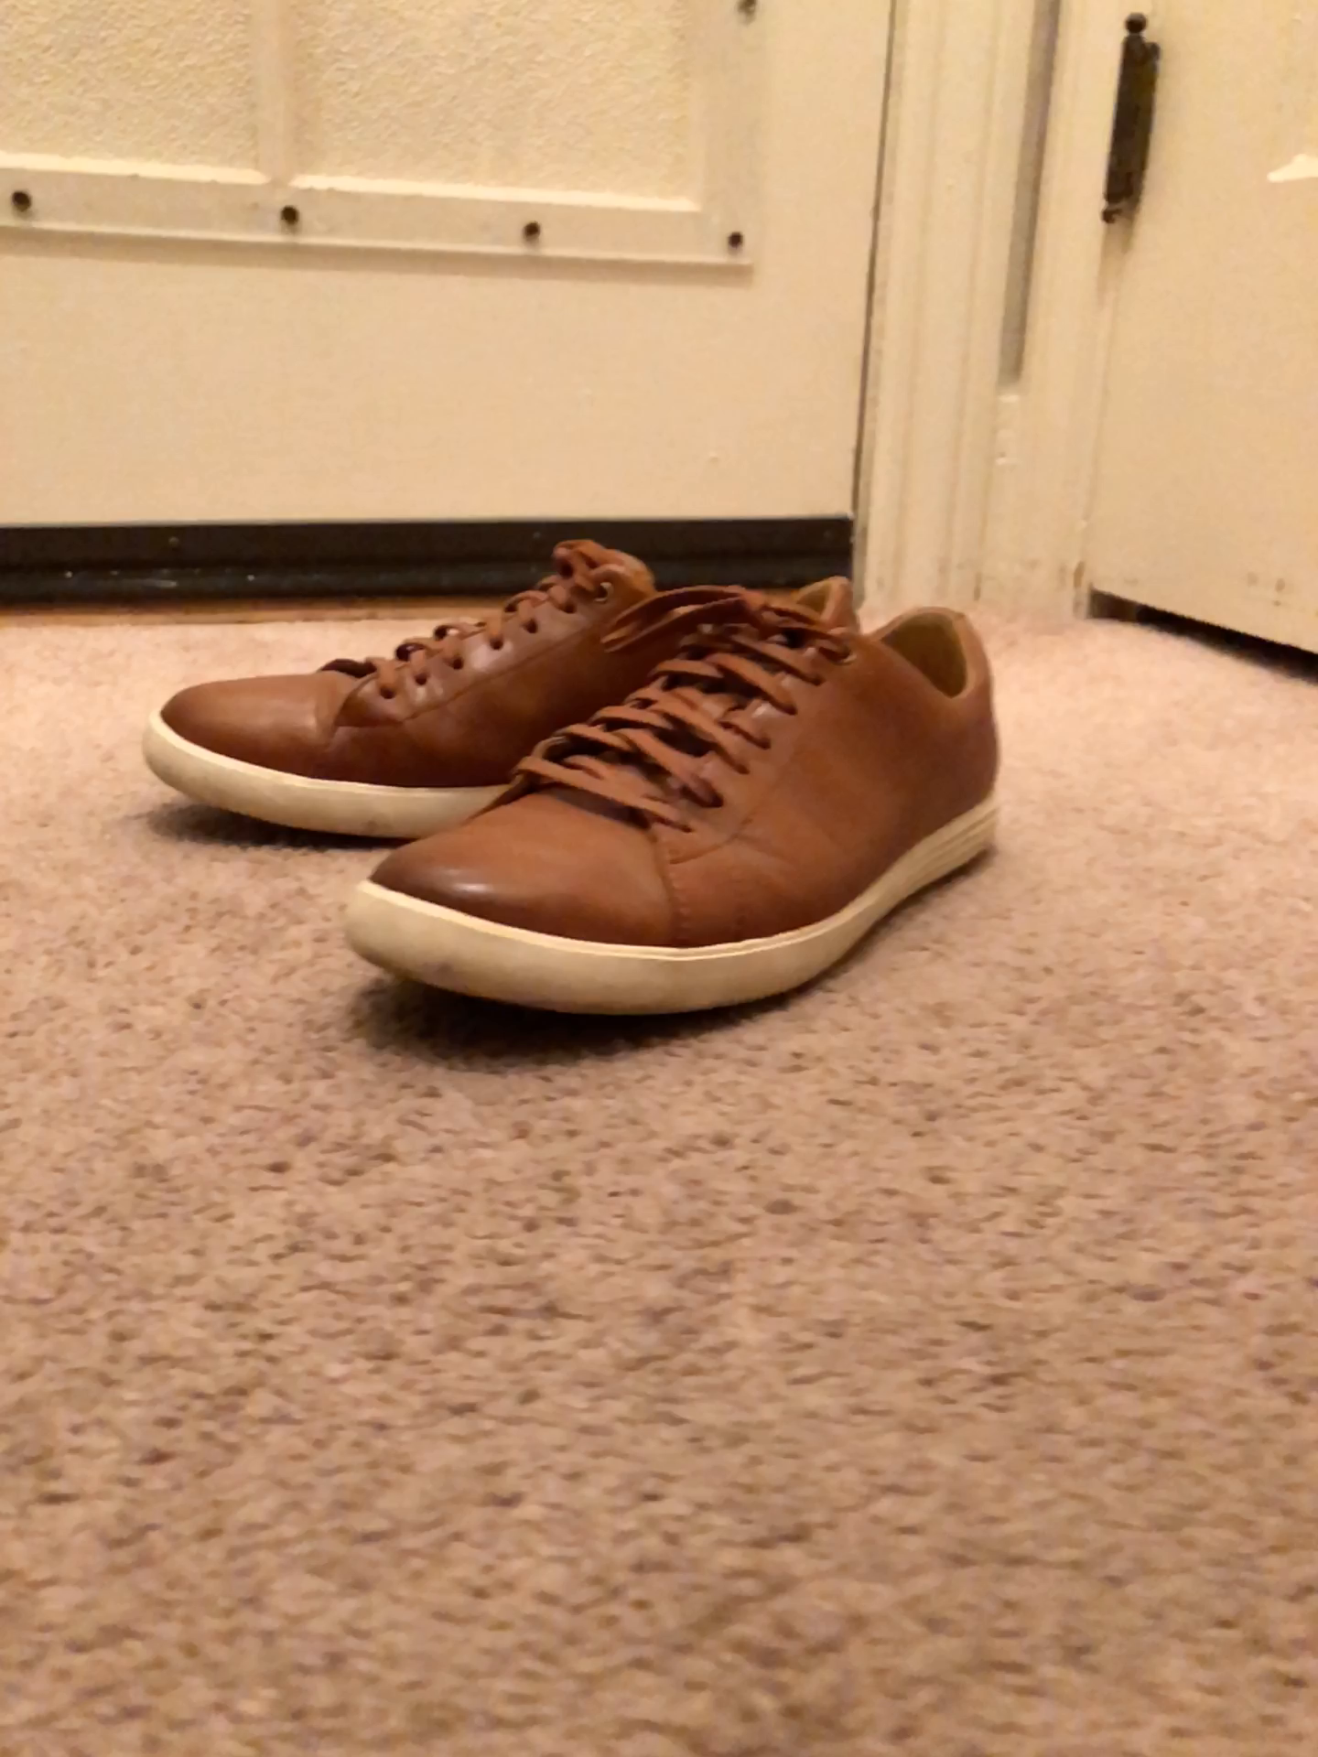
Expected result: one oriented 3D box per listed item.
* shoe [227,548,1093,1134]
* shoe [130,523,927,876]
[{"bbox_3d":[0.021,-0.037,0.464,0.117,0.100,0.286,16,24,34],"label":"shoe"},{"bbox_3d":[-0.053,-0.081,0.580,0.285,0.102,0.118,-6,21,-20],"label":"shoe"}]
